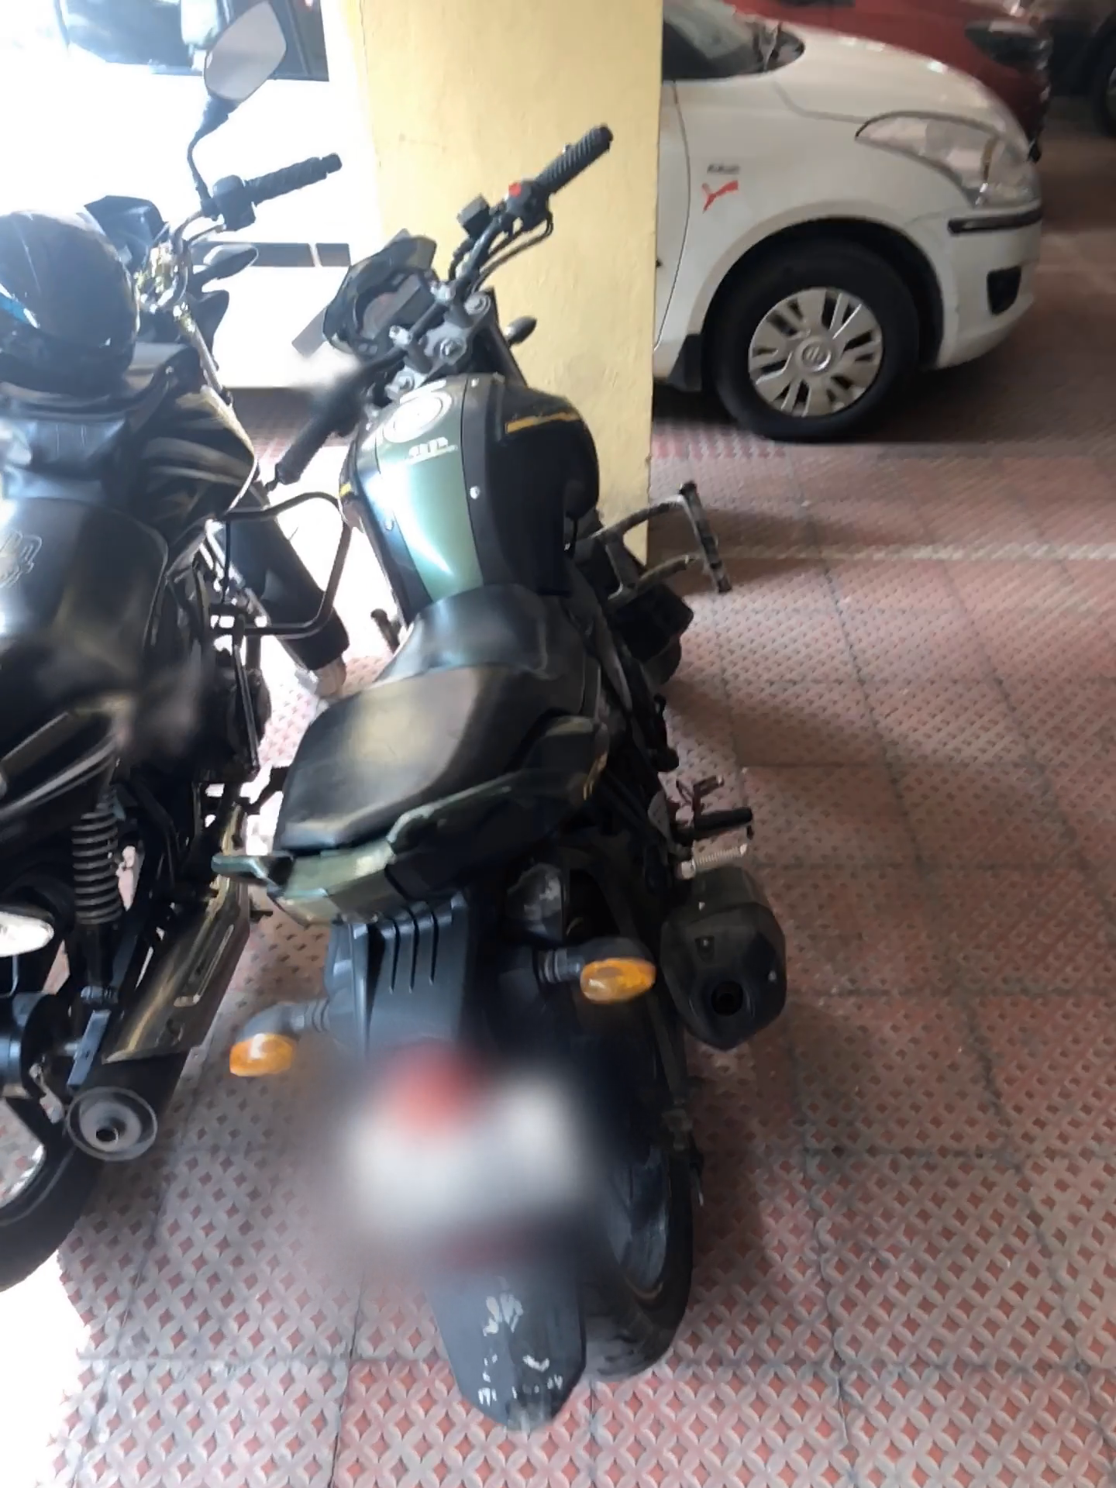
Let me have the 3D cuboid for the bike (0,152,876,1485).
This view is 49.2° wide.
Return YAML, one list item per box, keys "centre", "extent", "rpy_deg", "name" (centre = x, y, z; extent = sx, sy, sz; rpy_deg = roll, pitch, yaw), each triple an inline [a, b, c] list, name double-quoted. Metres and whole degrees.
- centre: [-0.258, -0.132, 1.782]
  extent: [0.738, 1.090, 1.818]
  rpy_deg: [-4, 34, -3]
  name: "bike"
